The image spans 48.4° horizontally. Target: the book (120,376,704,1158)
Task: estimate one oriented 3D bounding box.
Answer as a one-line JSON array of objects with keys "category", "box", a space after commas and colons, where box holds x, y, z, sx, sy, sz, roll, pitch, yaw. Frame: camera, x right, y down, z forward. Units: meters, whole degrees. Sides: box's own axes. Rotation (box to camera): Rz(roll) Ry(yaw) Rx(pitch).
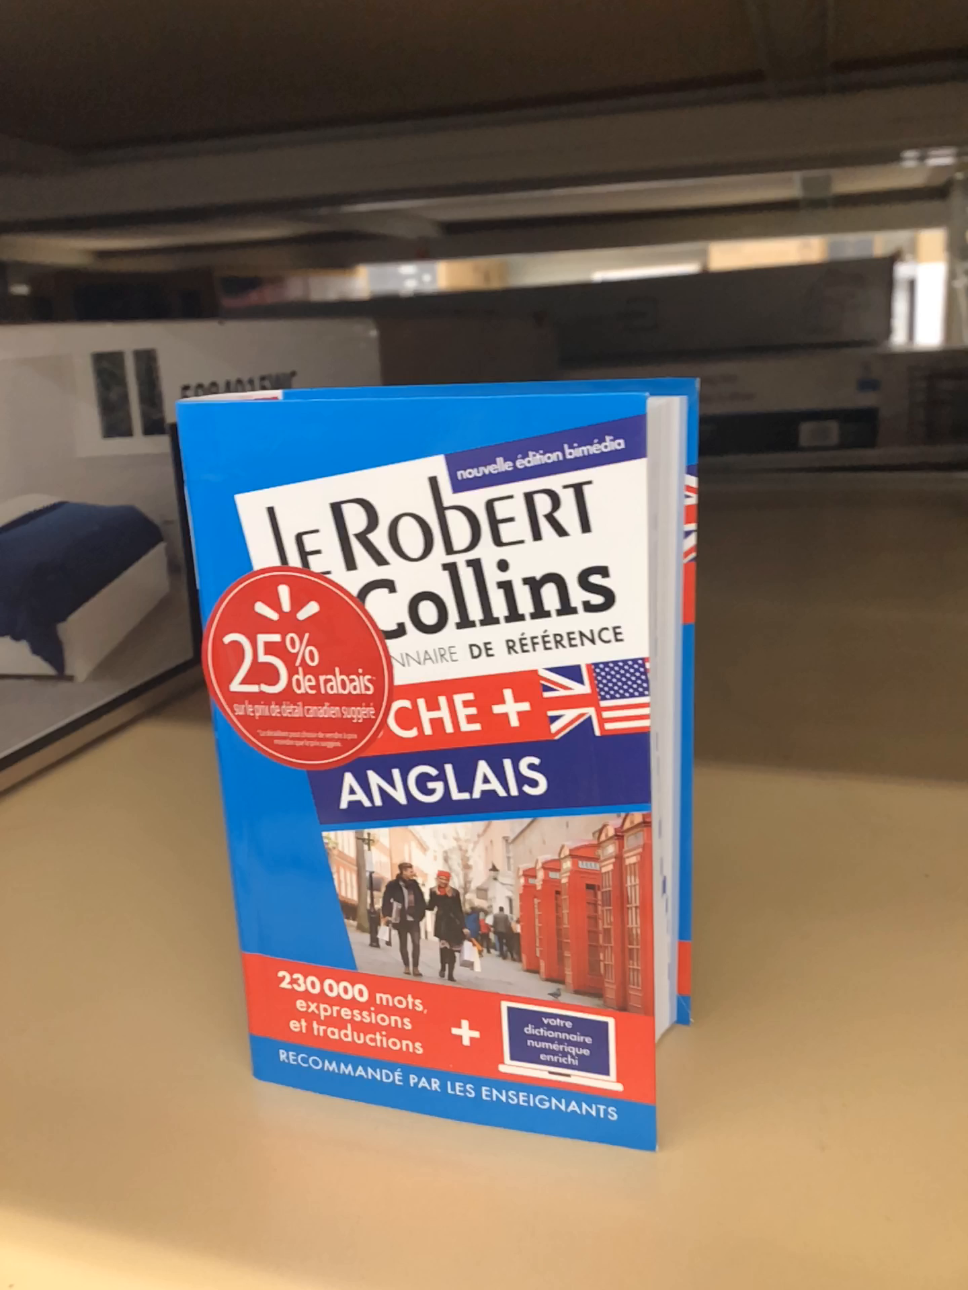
[{"category": "book", "box": [-0.010, 0.025, 0.271, 0.121, 0.173, 0.059, 3, 17, 18]}]
